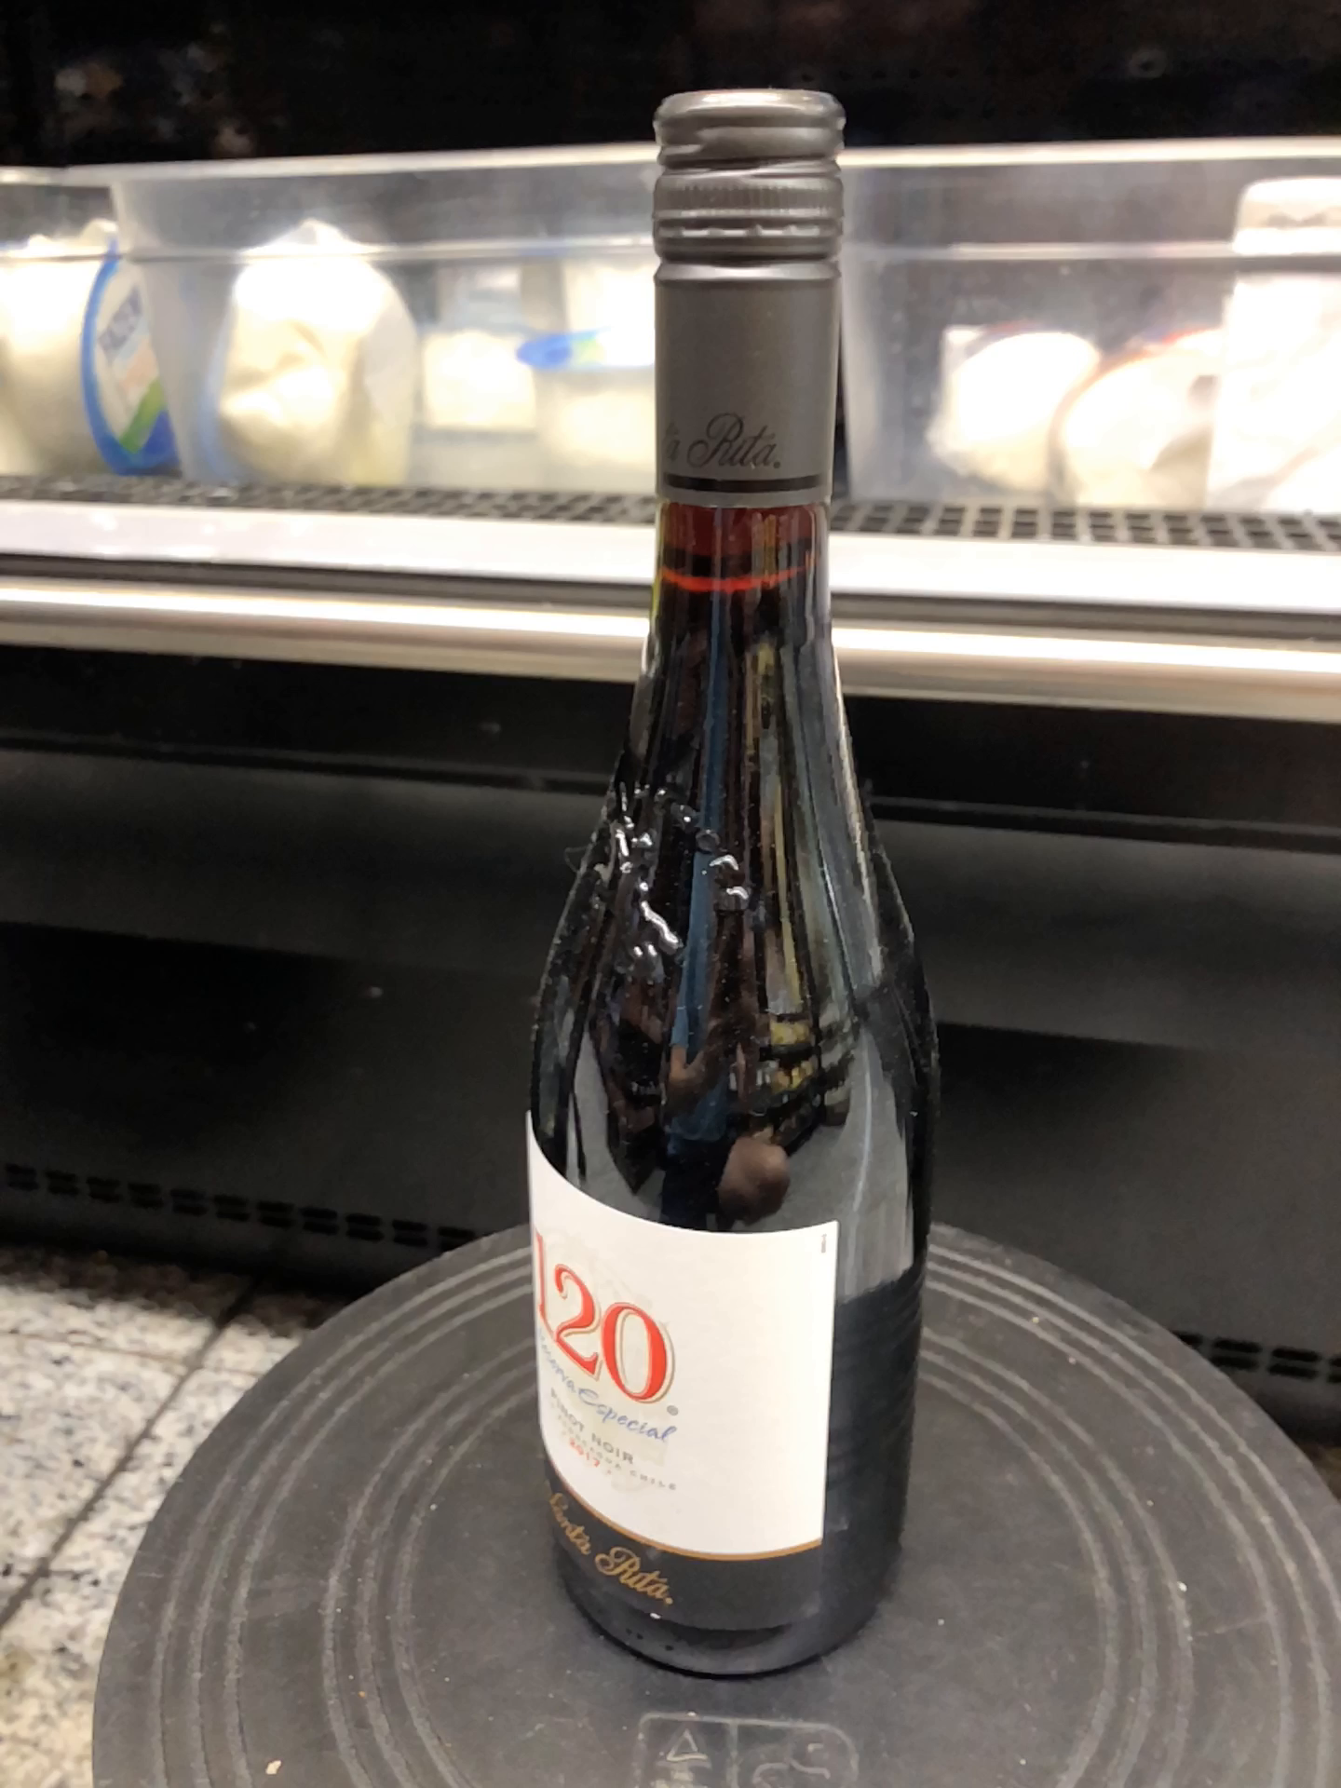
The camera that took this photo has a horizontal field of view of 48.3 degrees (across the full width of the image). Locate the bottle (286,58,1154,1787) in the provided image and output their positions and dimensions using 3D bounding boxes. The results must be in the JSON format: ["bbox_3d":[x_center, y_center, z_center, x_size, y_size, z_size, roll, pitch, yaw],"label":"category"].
[{"bbox_3d":[0.008,0.014,0.278,0.090,0.288,0.090,-1,24,0],"label":"bottle"}]
